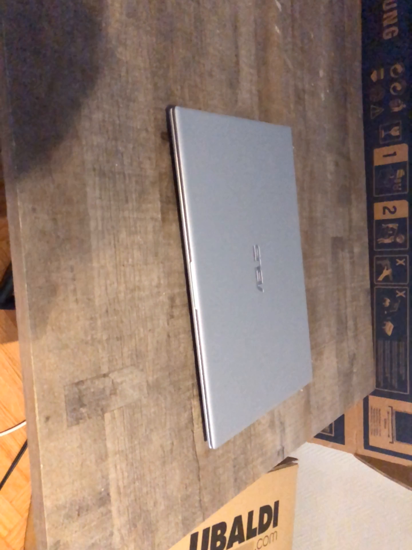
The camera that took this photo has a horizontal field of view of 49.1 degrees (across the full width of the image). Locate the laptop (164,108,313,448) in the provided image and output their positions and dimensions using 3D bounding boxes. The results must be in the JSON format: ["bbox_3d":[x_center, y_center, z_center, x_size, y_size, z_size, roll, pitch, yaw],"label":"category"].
[{"bbox_3d":[0.057,-0.006,0.553,0.229,0.013,0.353,-15,101,-49],"label":"laptop"}]
